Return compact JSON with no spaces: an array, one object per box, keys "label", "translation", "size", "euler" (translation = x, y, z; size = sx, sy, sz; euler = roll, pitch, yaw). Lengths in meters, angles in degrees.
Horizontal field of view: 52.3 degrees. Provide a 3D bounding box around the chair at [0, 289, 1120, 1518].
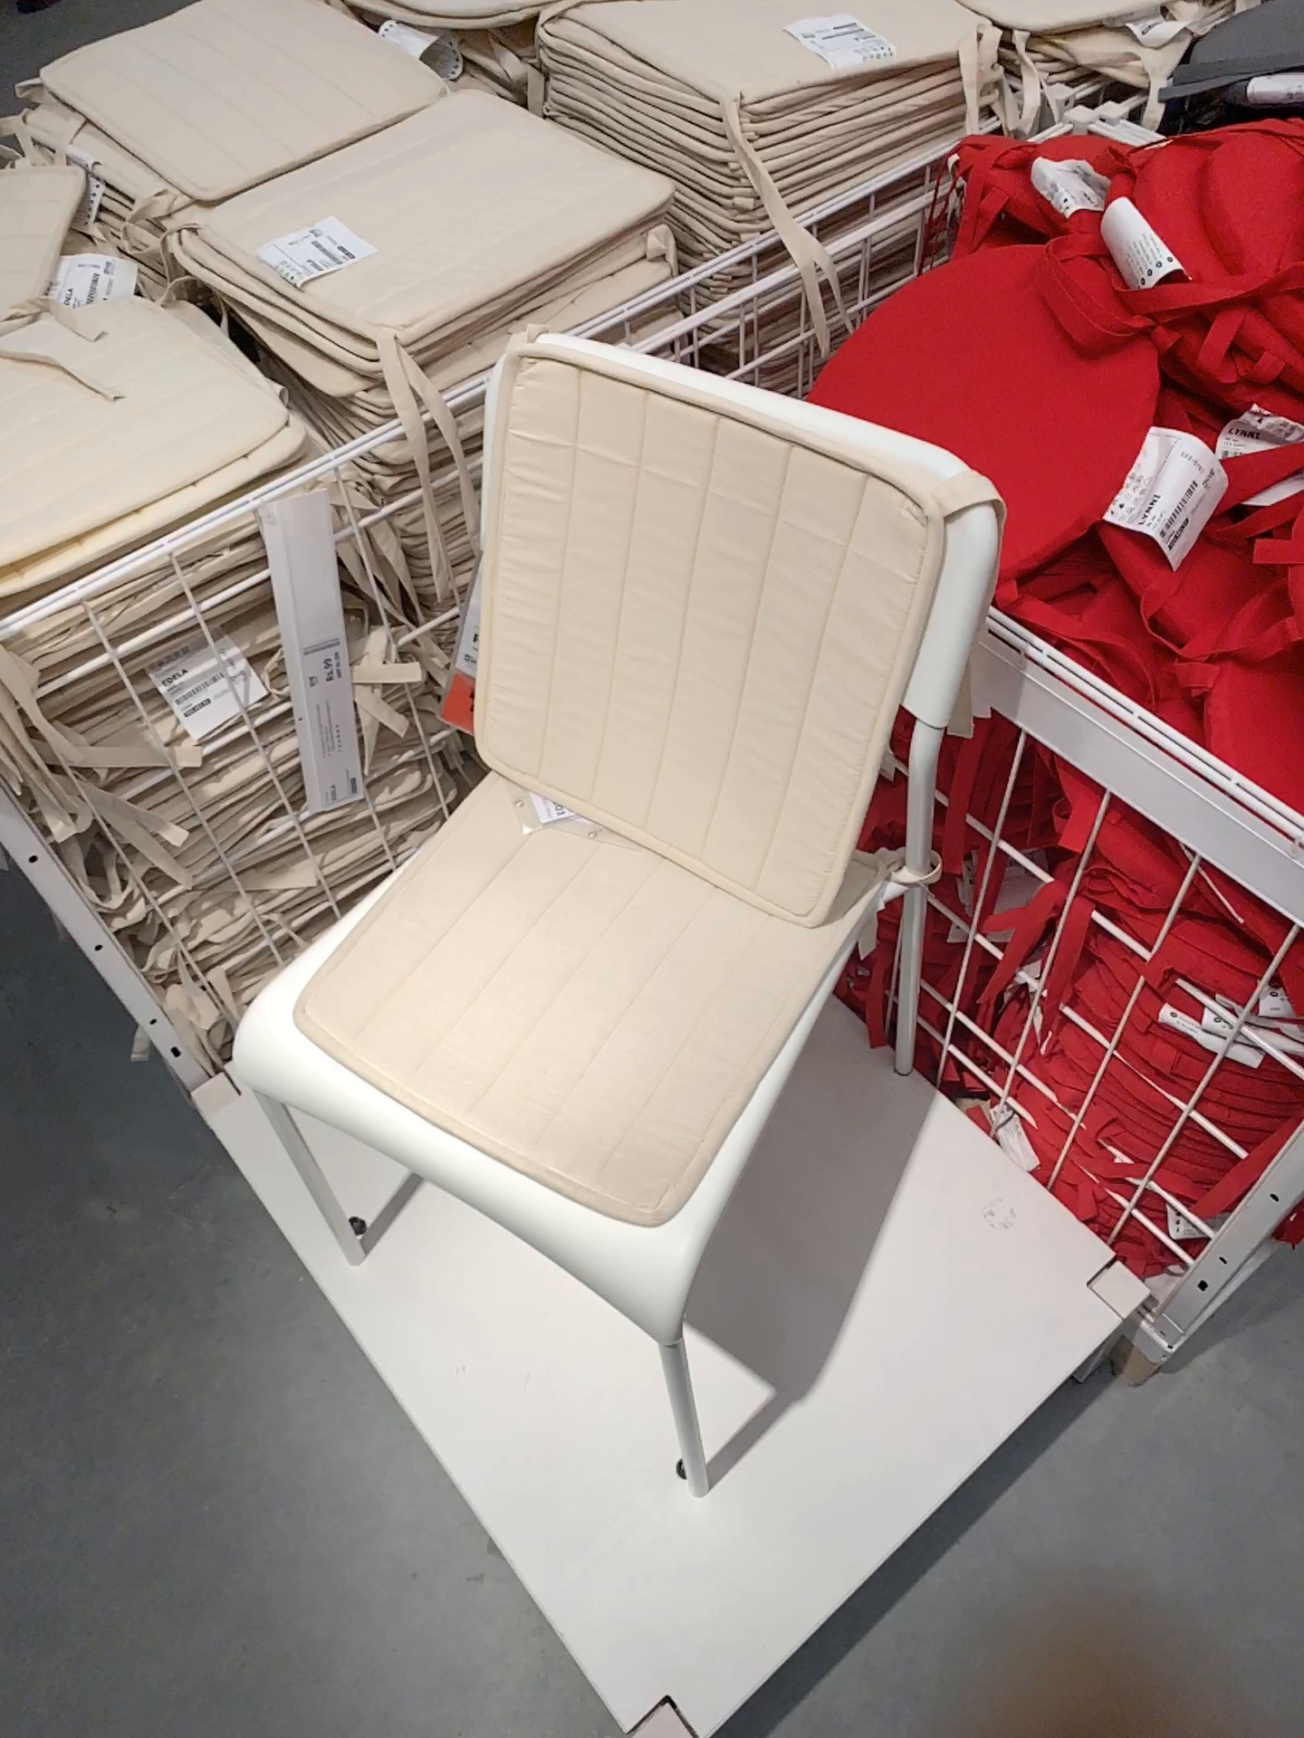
[{"label":"chair","translation":[-0.023,0.065,0.992],"size":[0.431,0.698,0.481],"euler":[25,59,22]}]
